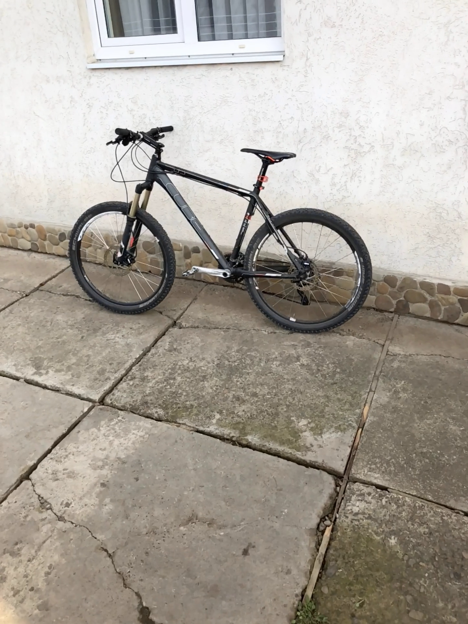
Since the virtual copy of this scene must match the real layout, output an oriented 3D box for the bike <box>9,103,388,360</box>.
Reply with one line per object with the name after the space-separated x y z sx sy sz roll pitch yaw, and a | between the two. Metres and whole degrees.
-0.142 -0.516 2.851 1.773 1.090 0.690 8 31 17 | bike
